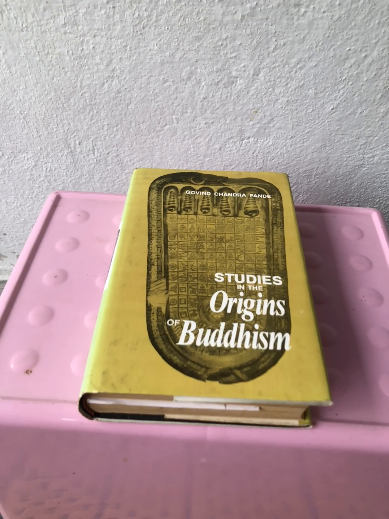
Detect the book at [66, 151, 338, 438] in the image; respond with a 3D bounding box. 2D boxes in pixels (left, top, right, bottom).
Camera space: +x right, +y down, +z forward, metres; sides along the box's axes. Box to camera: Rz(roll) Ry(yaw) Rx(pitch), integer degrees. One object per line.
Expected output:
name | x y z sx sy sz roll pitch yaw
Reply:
book | 0.009 0.005 0.334 0.150 0.040 0.241 4 47 0
